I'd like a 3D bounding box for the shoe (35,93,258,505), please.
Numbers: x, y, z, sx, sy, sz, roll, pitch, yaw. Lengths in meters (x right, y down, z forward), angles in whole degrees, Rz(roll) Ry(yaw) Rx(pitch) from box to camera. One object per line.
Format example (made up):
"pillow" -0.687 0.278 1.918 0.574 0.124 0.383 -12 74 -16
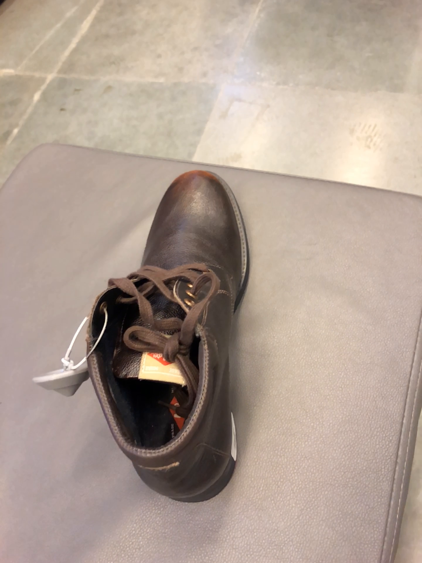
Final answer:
"shoe" -0.025 0.020 0.403 0.108 0.177 0.299 -4 61 10
